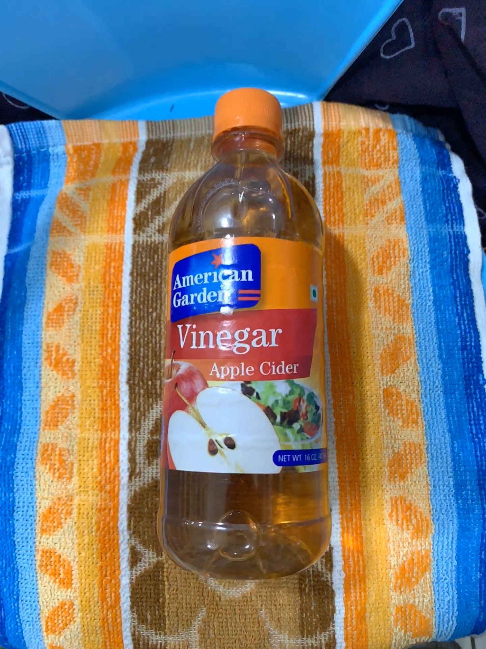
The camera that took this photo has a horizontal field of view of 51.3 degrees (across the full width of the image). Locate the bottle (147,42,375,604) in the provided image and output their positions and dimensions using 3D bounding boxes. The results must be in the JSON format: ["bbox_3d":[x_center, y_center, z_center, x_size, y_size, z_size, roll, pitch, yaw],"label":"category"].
[{"bbox_3d":[0.013,-0.004,0.195,0.070,0.050,0.180,0,82,18],"label":"bottle"}]
